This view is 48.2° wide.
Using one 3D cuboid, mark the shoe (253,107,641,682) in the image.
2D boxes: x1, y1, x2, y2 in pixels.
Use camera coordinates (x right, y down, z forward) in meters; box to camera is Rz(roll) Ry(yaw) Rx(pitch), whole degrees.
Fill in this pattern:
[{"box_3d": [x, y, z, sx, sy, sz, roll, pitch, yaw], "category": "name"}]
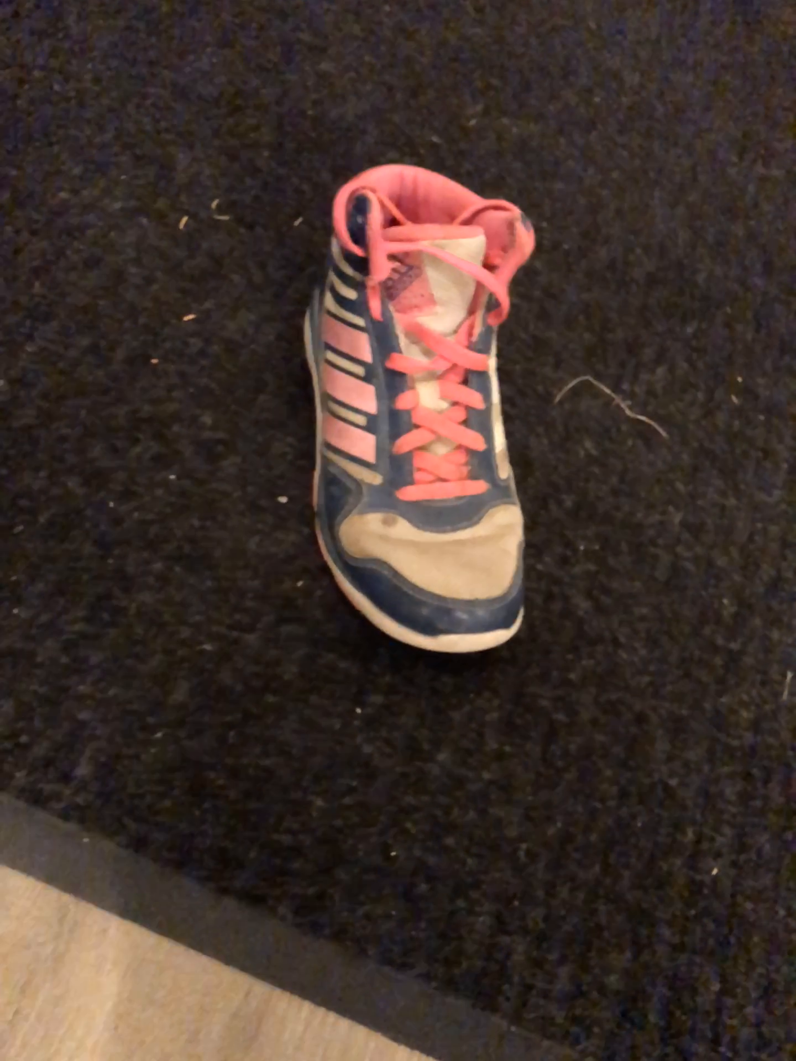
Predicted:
[{"box_3d": [0.003, -0.057, 0.354, 0.090, 0.100, 0.200, -4, 60, -16], "category": "shoe"}]
